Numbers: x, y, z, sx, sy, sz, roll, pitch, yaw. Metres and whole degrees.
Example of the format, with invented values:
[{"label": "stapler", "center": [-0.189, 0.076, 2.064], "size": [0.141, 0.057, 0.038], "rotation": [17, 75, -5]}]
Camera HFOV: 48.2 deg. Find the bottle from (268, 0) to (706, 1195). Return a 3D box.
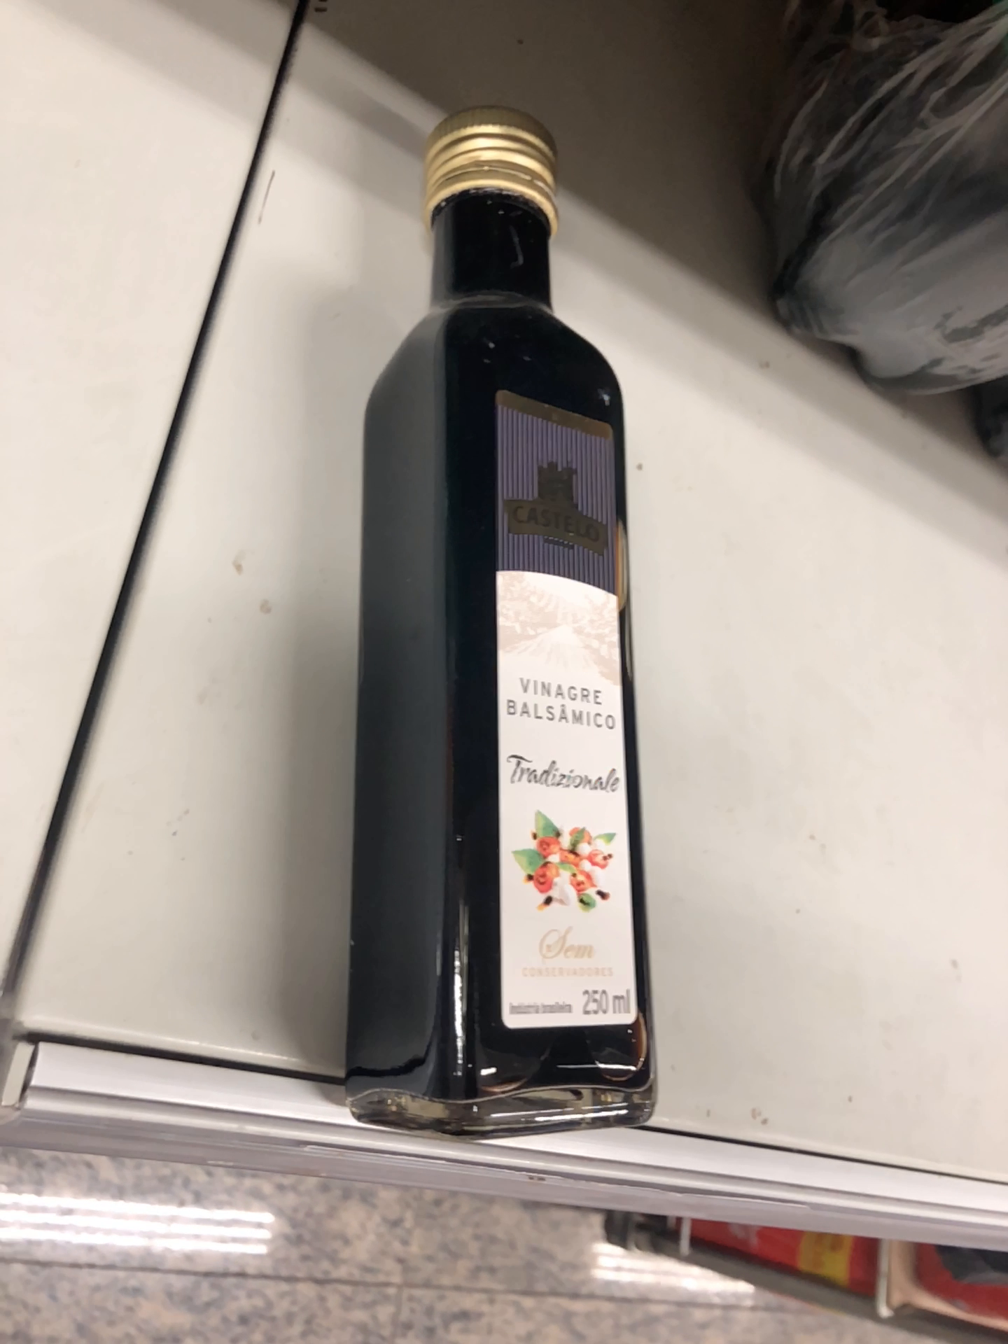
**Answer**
[{"label": "bottle", "center": [-0.005, -0.032, 0.241], "size": [0.060, 0.060, 0.250], "rotation": [8, 74, -32]}]
